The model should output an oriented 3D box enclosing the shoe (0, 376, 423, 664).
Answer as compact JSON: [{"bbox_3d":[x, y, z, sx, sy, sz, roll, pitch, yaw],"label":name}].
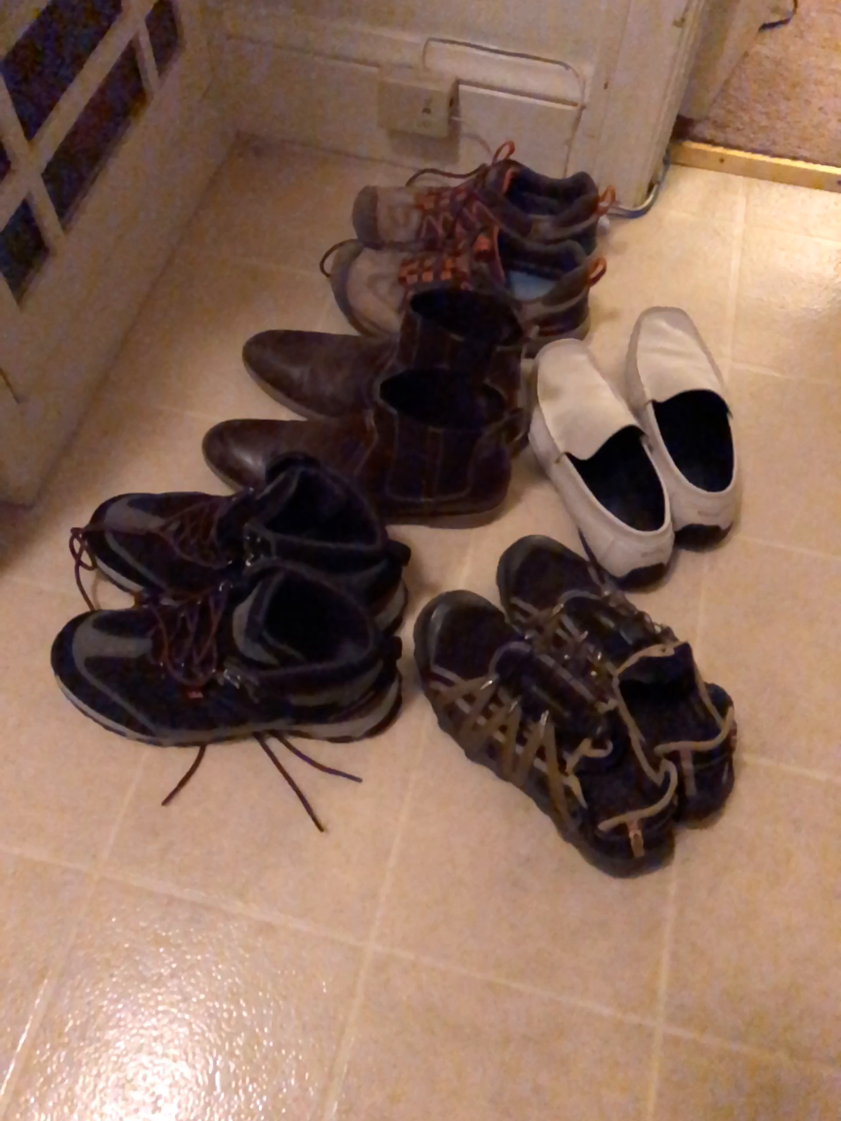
[{"bbox_3d":[-0.170,-0.029,0.819,0.323,0.192,0.111,11,60,5],"label":"shoe"}]

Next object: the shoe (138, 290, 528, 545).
[{"bbox_3d":[-0.074,-0.130,0.883,0.323,0.192,0.111,7,60,2],"label":"shoe"}]

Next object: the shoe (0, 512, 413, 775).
[{"bbox_3d":[-0.175,0.075,0.751,0.323,0.192,0.111,6,60,1],"label":"shoe"}]

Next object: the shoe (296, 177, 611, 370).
[{"bbox_3d":[0.036,-0.312,1.006,0.313,0.113,0.111,10,60,4],"label":"shoe"}]

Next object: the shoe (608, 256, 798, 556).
[{"bbox_3d":[0.280,-0.165,0.955,0.110,0.113,0.304,-1,60,-2],"label":"shoe"}]

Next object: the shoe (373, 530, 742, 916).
[{"bbox_3d":[0.098,0.132,0.771,0.110,0.123,0.294,-37,68,-20],"label":"shoe"}]

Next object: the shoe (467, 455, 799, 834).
[{"bbox_3d":[0.169,0.070,0.813,0.110,0.123,0.294,-26,64,-16],"label":"shoe"}]

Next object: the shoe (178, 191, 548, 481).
[{"bbox_3d":[-0.054,-0.222,0.935,0.323,0.192,0.111,16,61,7],"label":"shoe"}]

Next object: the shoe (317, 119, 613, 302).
[{"bbox_3d":[0.050,-0.404,1.065,0.313,0.113,0.111,10,60,4],"label":"shoe"}]

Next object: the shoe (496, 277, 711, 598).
[{"bbox_3d":[0.171,-0.130,0.929,0.110,0.113,0.304,-9,61,-7],"label":"shoe"}]
